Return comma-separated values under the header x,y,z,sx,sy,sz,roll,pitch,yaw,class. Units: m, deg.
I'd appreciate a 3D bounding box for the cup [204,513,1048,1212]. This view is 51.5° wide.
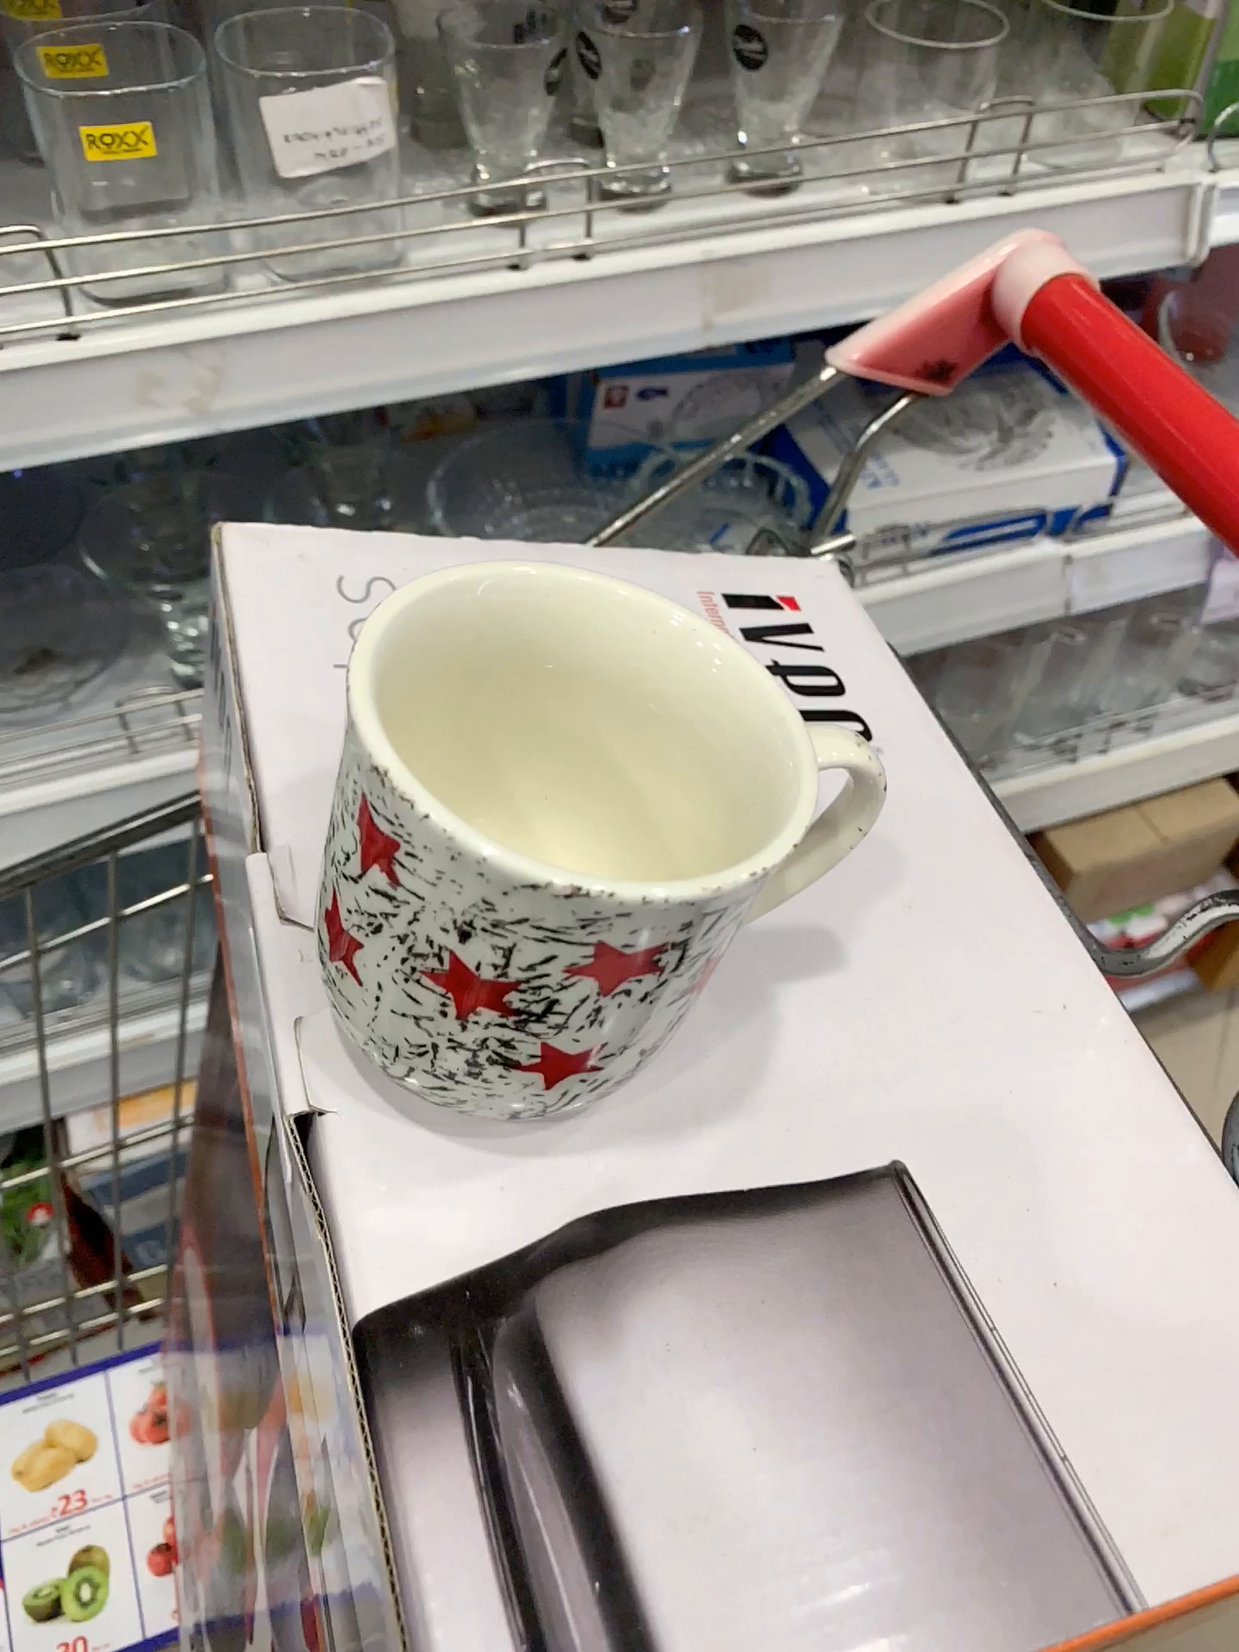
x,y,z,sx,sy,sz,roll,pitch,yaw,class
-0.005,0.008,0.205,0.100,0.070,0.070,3,47,-29,cup
